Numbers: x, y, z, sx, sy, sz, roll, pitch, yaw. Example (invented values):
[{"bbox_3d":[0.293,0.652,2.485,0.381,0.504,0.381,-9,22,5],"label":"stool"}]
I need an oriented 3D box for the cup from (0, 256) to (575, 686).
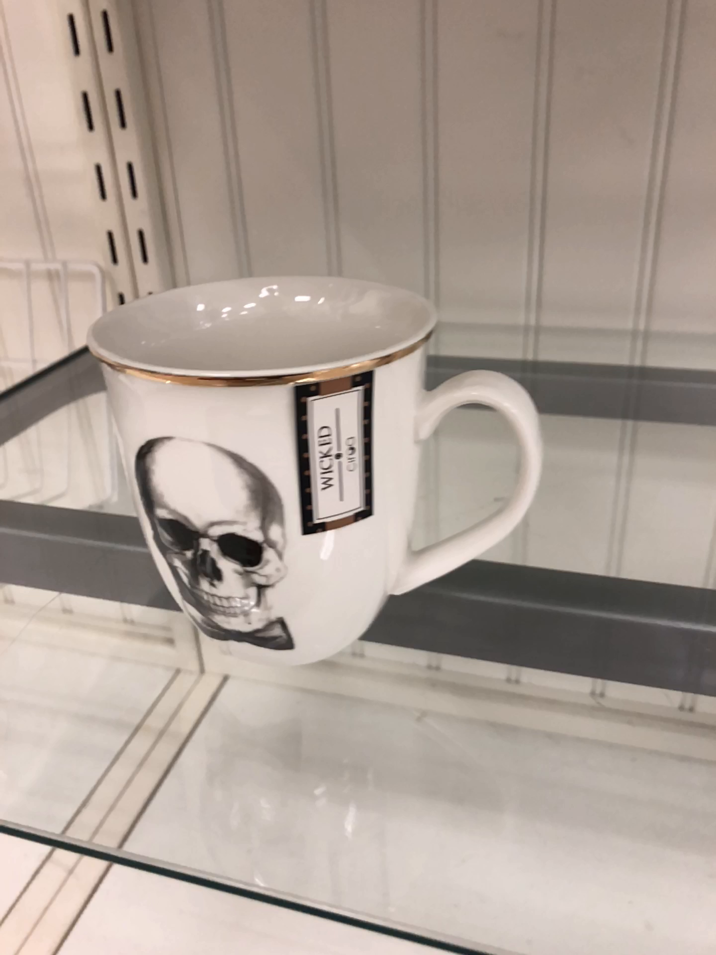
[{"bbox_3d":[-0.013,-0.008,0.233,0.130,0.088,0.095,0,27,7],"label":"cup"}]
